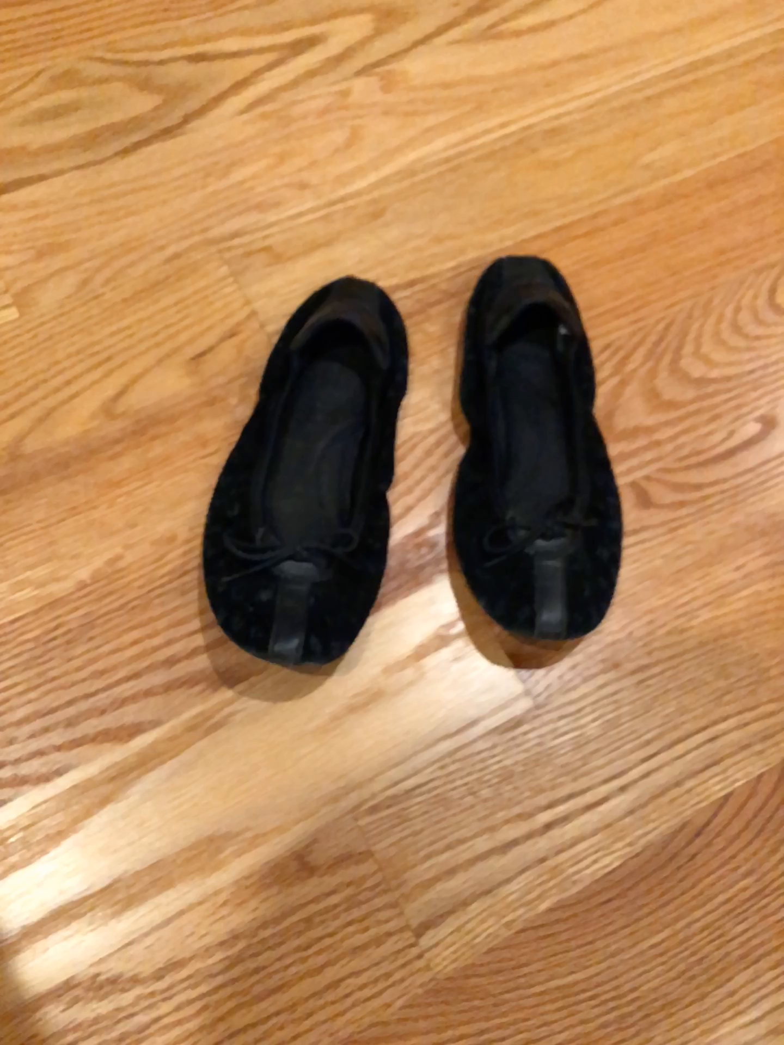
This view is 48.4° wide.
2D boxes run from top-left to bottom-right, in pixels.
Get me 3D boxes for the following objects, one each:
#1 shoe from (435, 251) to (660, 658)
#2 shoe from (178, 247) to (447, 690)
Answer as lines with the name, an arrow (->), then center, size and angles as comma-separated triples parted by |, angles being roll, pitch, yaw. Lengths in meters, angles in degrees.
shoe -> 0.078, -0.041, 0.477 | 0.093, 0.046, 0.221 | 0, 69, -6
shoe -> -0.036, -0.032, 0.462 | 0.100, 0.050, 0.221 | 9, 69, -3
